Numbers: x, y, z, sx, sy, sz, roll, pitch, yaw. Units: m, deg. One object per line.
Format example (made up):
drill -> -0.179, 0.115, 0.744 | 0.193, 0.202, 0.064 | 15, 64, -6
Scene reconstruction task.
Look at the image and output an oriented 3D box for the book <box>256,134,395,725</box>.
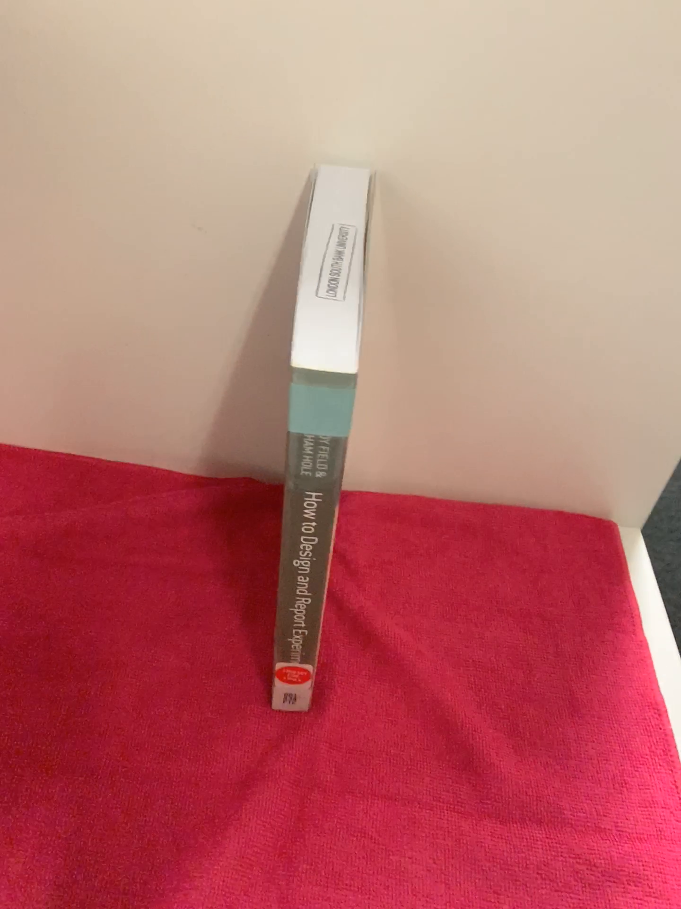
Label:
book -> -0.009, -0.008, 0.376 | 0.040, 0.248, 0.192 | 6, 43, -1
